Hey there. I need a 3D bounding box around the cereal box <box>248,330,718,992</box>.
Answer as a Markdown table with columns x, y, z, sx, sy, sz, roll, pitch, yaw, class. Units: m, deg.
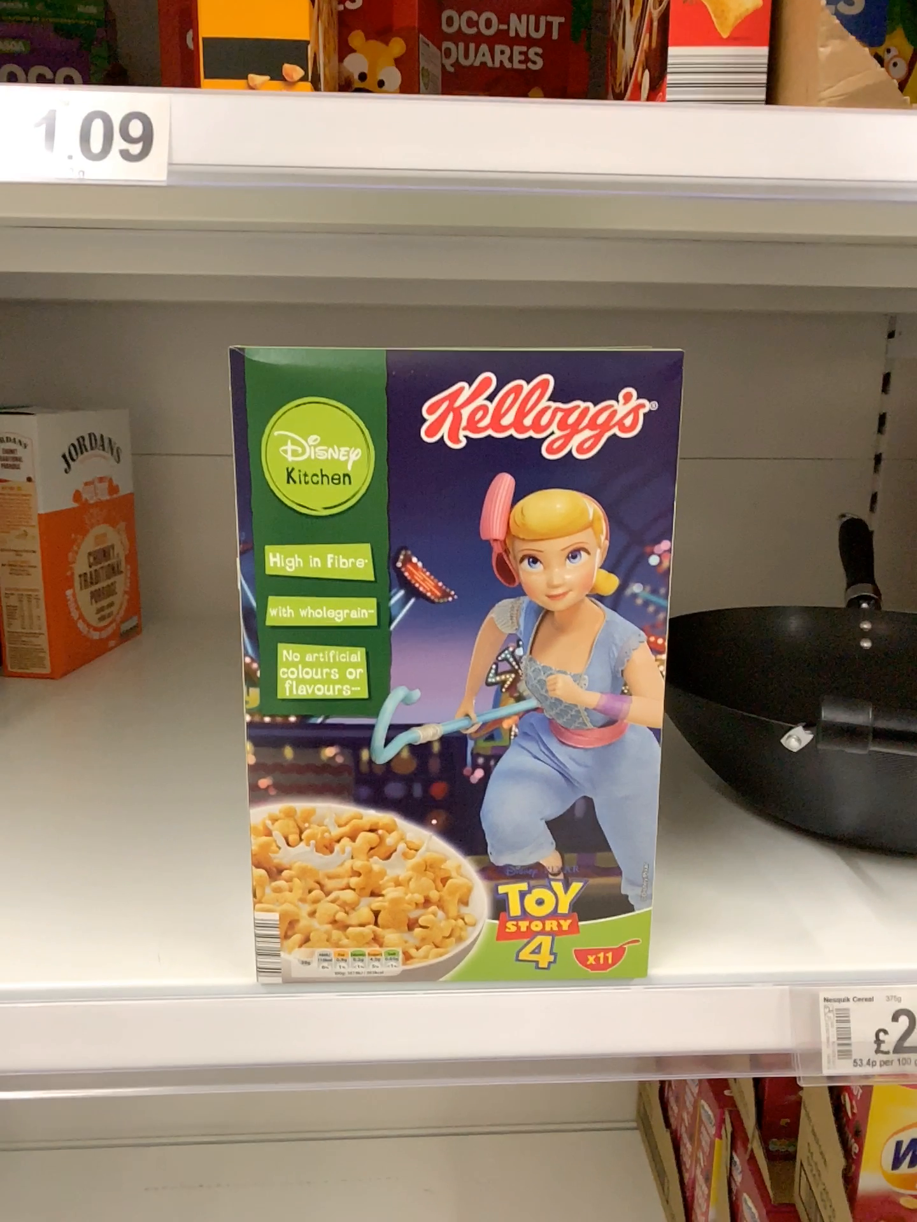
| x | y | z | sx | sy | sz | roll | pitch | yaw | class |
| --- | --- | --- | --- | --- | --- | --- | --- | --- | --- |
| 0.008 | 0.024 | 0.453 | 0.190 | 0.298 | 0.080 | 0 | 13 | -2 | cereal box |
